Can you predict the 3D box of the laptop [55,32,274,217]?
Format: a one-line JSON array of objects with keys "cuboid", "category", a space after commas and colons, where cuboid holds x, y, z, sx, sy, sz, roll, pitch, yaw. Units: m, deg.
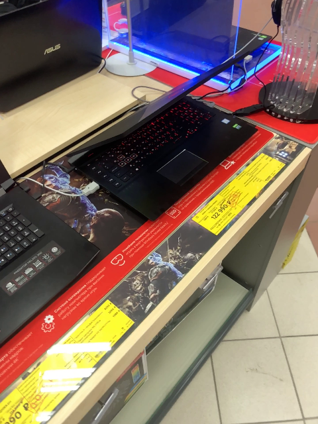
[{"cuboid": [0.025, -0.222, 0.794, 0.258, 0.166, 0.395, 34, 57, 26], "category": "laptop"}]
